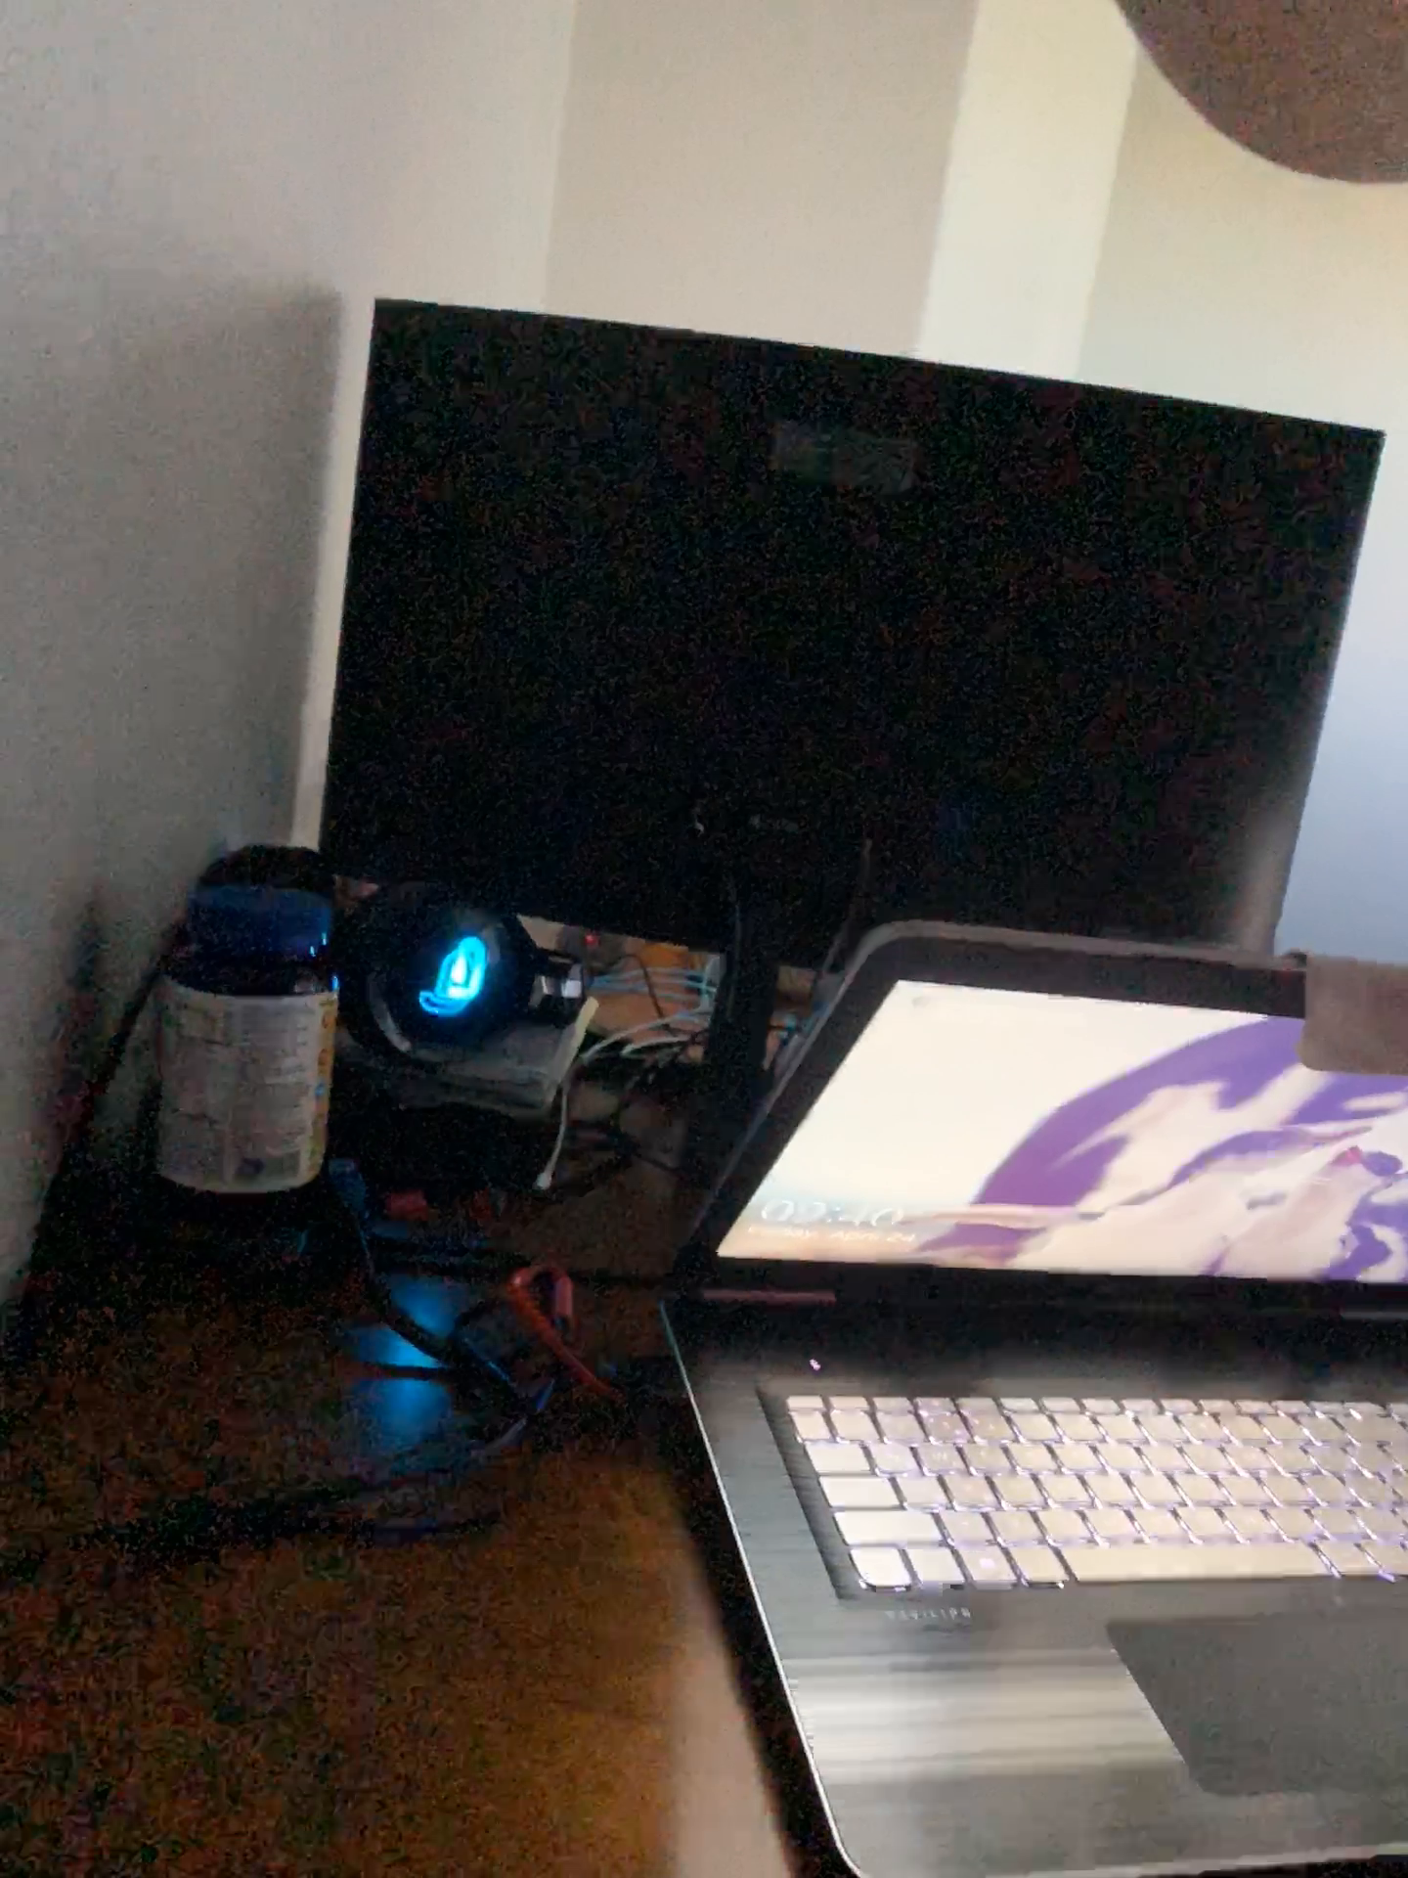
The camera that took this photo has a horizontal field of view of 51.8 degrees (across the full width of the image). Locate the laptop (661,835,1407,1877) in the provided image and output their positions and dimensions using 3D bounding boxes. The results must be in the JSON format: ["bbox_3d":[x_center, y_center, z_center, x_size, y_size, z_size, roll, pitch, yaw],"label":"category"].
[{"bbox_3d":[0.214,0.111,0.500,0.393,0.187,0.258,6,16,-16],"label":"laptop"}]
